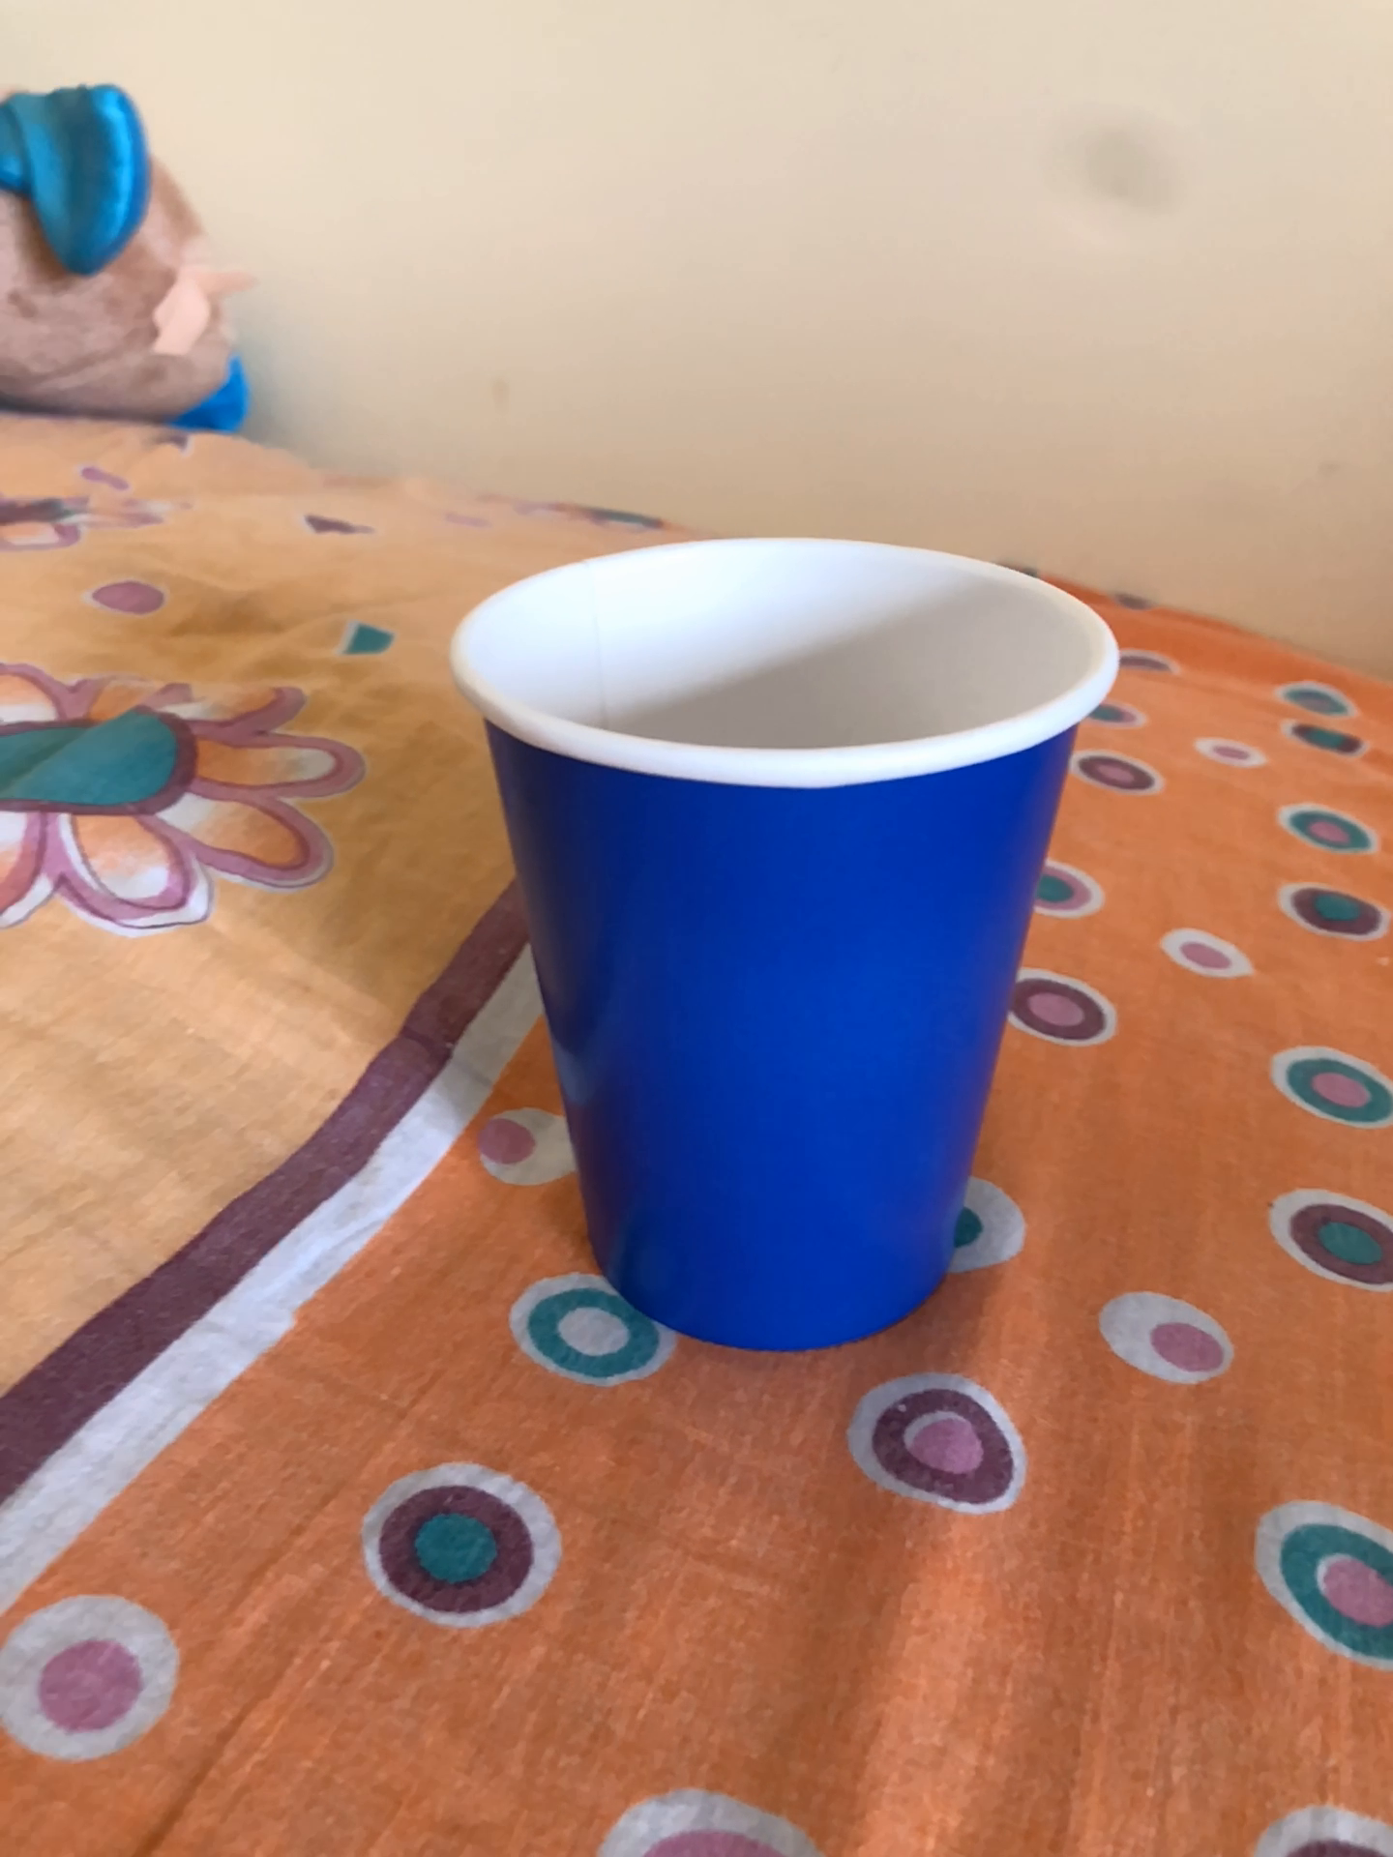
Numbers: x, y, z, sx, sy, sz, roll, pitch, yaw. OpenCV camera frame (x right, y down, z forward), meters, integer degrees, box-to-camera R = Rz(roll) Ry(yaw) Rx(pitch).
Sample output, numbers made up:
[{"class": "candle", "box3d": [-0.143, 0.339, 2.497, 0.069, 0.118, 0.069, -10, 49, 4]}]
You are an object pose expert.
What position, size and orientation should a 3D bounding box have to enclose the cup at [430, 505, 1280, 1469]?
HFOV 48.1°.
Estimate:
[{"class": "cup", "box3d": [0.013, 0.002, 0.209, 0.080, 0.090, 0.080, -1, 30, 1]}]
